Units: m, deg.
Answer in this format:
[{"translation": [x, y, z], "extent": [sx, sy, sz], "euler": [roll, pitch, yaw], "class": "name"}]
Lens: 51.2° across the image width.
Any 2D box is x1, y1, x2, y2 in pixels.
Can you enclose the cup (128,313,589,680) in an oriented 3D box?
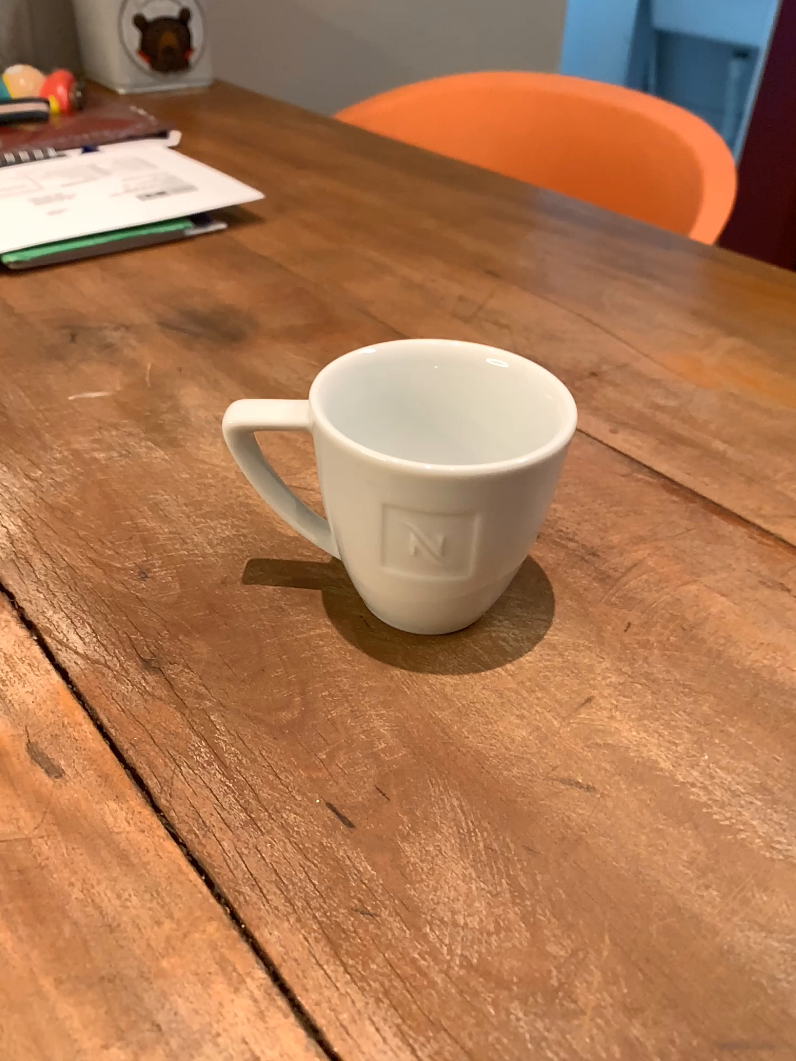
[{"translation": [-0.006, -0.012, 0.202], "extent": [0.090, 0.050, 0.060], "euler": [11, 38, 11], "class": "cup"}]
